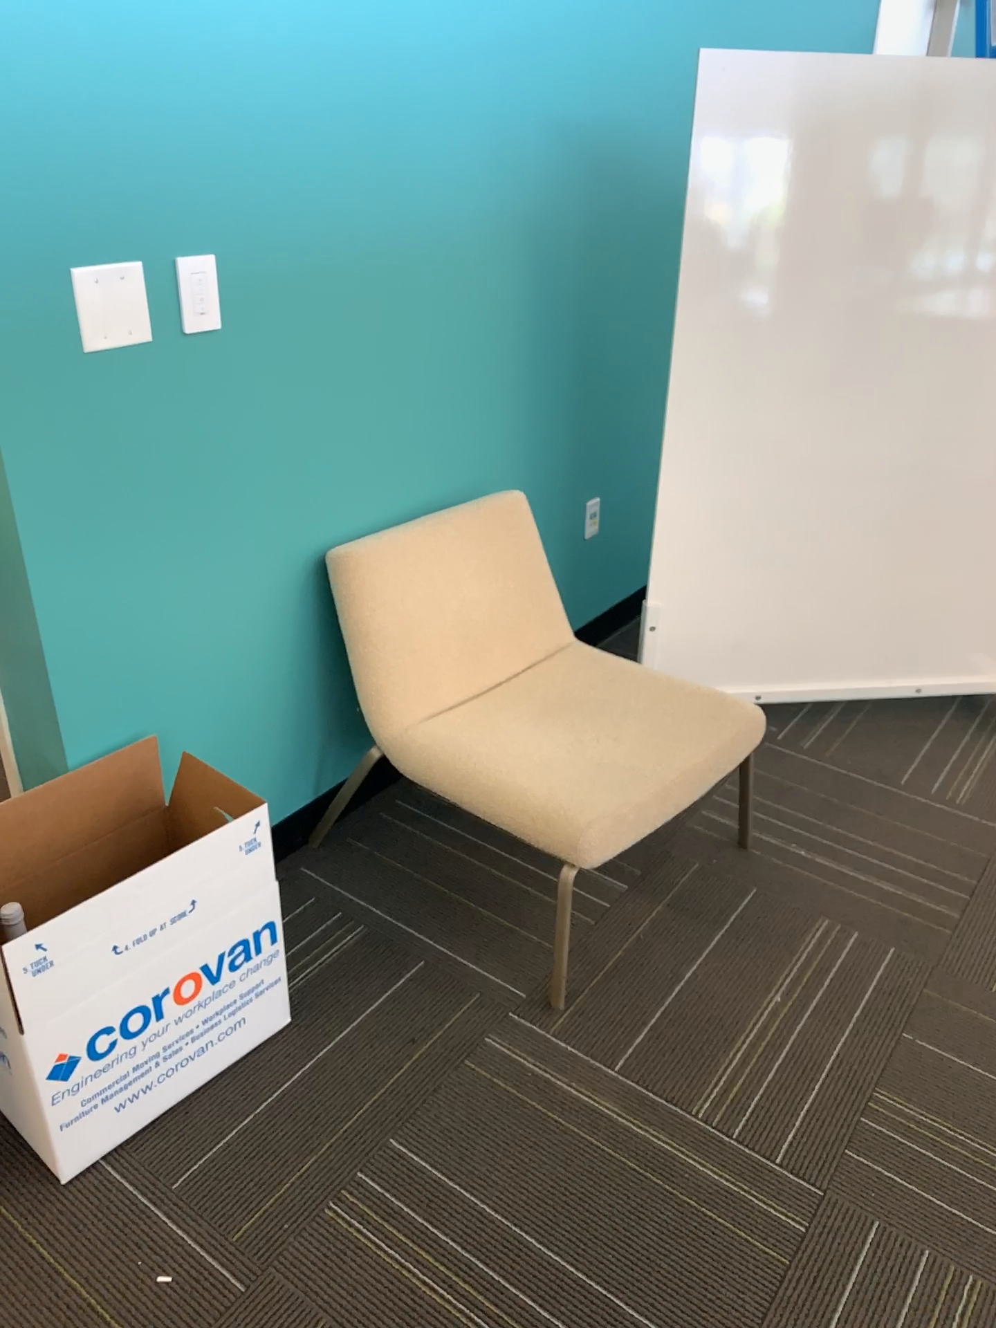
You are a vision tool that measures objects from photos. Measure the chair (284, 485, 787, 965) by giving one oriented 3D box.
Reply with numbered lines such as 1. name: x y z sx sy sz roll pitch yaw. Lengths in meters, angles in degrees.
1. chair: 0.071 0.056 2.123 0.732 0.567 0.661 23 34 35
